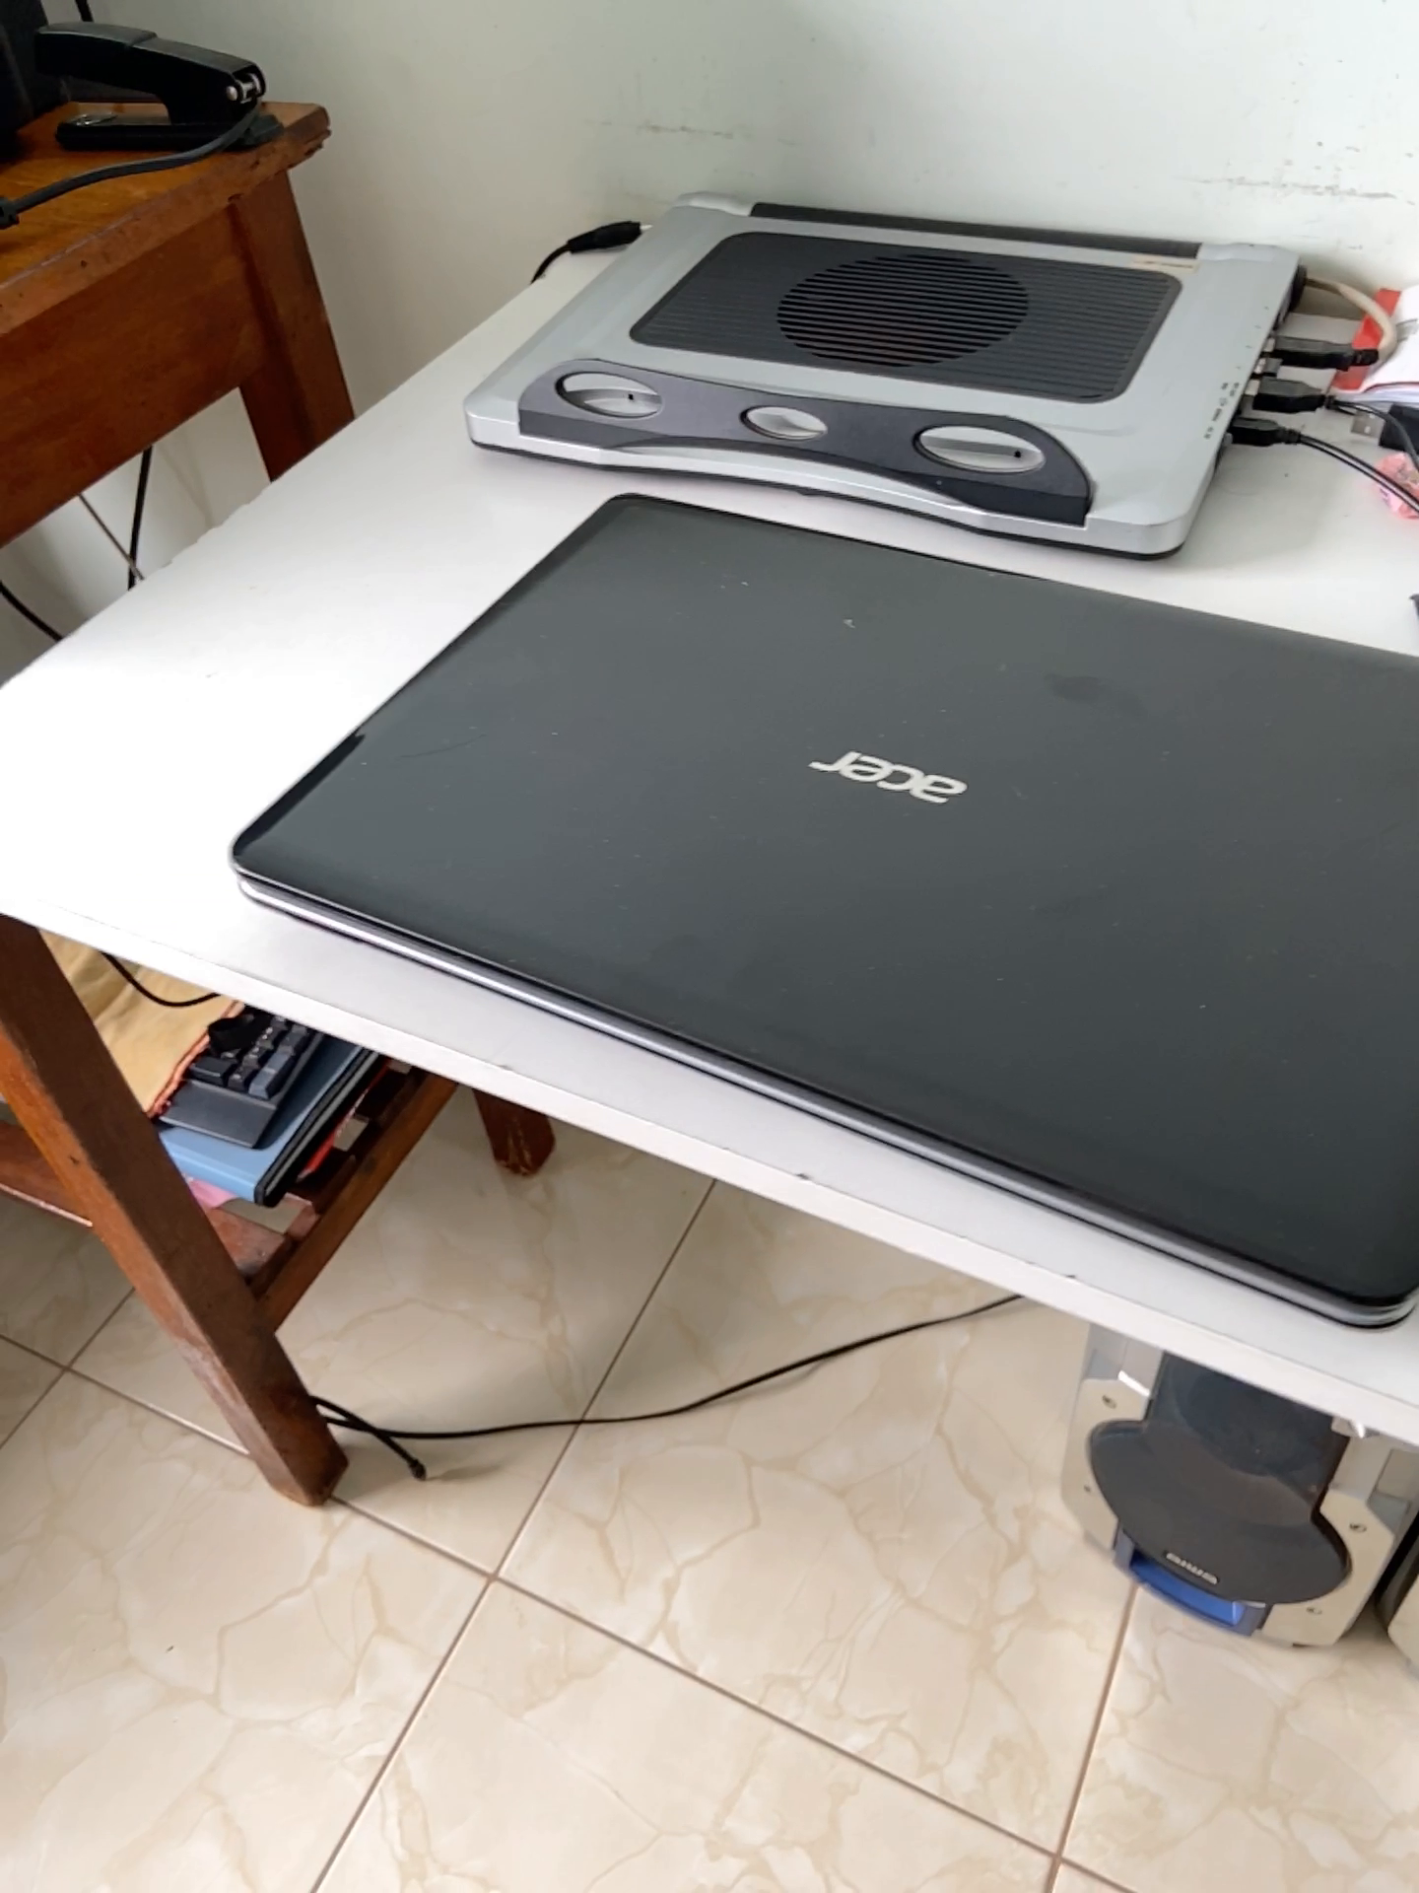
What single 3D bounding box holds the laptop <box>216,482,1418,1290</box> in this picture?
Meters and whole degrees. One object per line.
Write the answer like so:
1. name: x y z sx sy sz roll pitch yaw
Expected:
1. laptop: 0.055 -0.055 0.437 0.335 0.005 0.231 19 50 23
